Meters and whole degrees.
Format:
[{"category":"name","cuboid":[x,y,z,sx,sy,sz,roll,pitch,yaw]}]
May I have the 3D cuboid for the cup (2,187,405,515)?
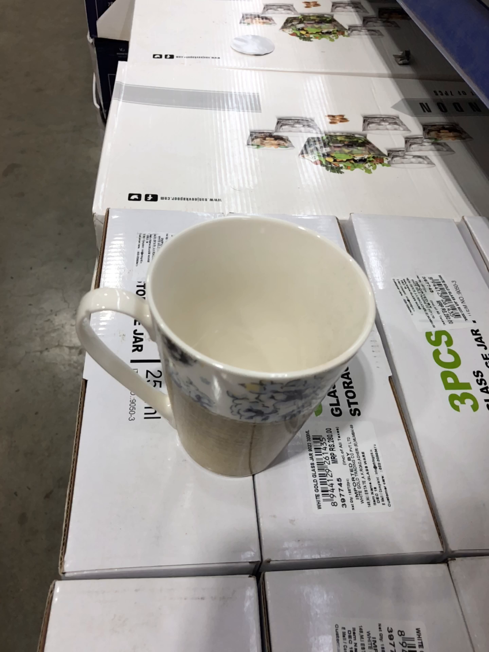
[{"category":"cup","cuboid":[-0.014,0.013,0.242,0.130,0.100,0.090,6,48,-1]}]
